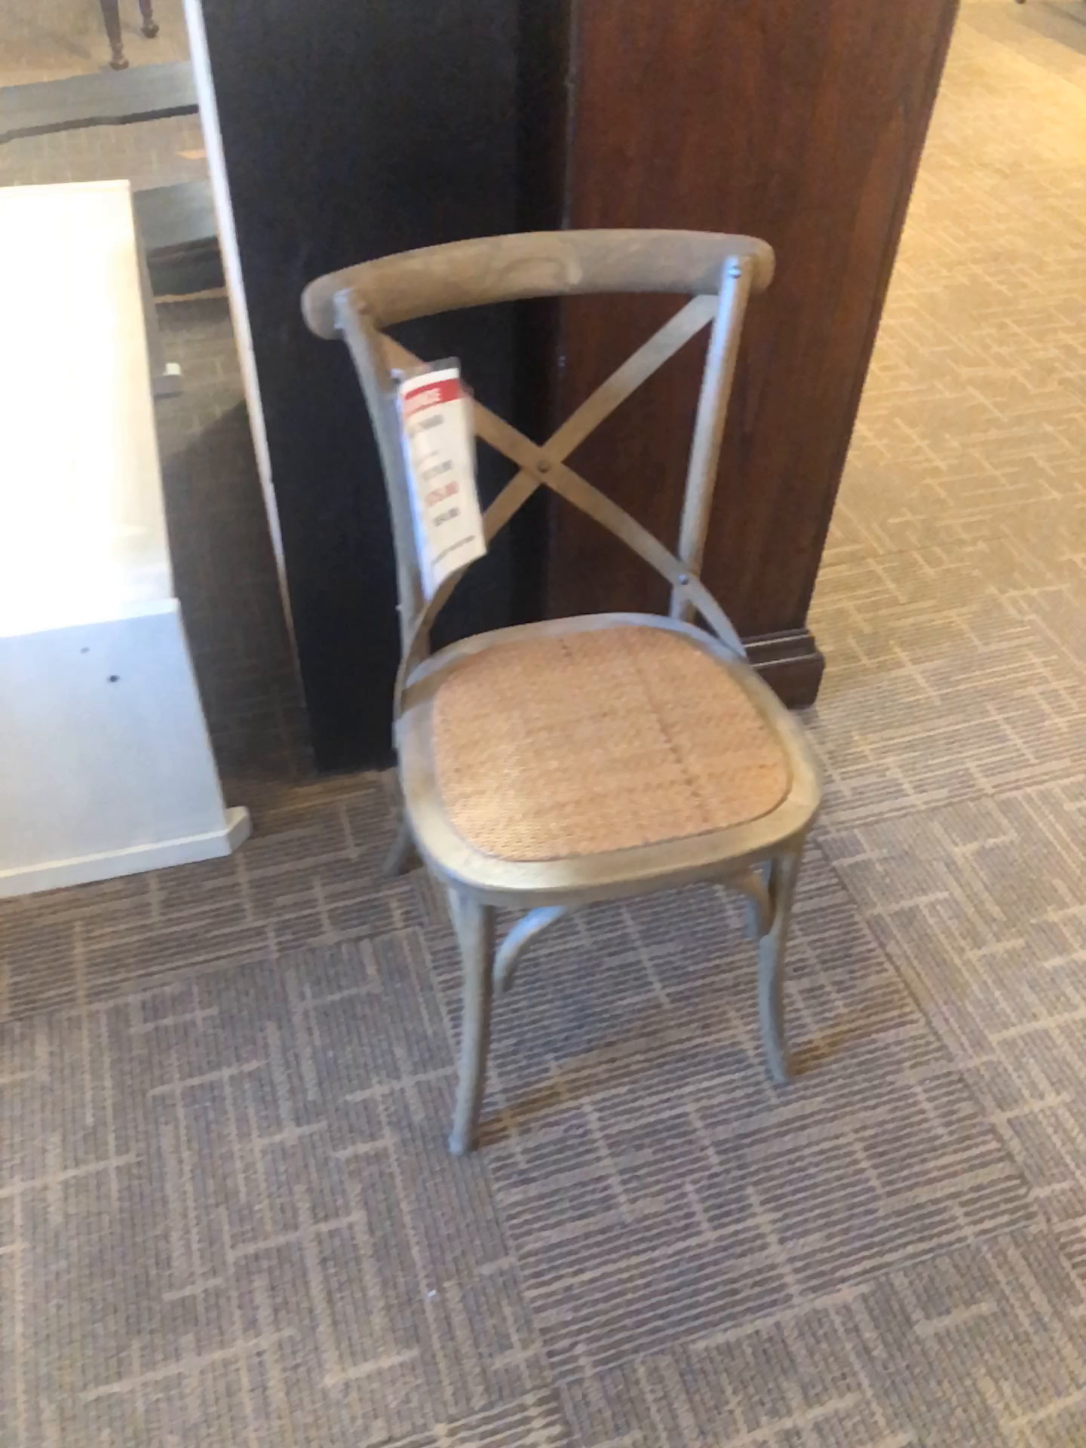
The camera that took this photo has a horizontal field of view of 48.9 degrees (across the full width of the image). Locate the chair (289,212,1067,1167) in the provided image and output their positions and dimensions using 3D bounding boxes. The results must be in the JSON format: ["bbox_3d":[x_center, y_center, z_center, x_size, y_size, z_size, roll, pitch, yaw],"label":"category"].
[{"bbox_3d":[0.055,-0.023,1.310,0.515,0.813,0.568,-9,45,-11],"label":"chair"}]
